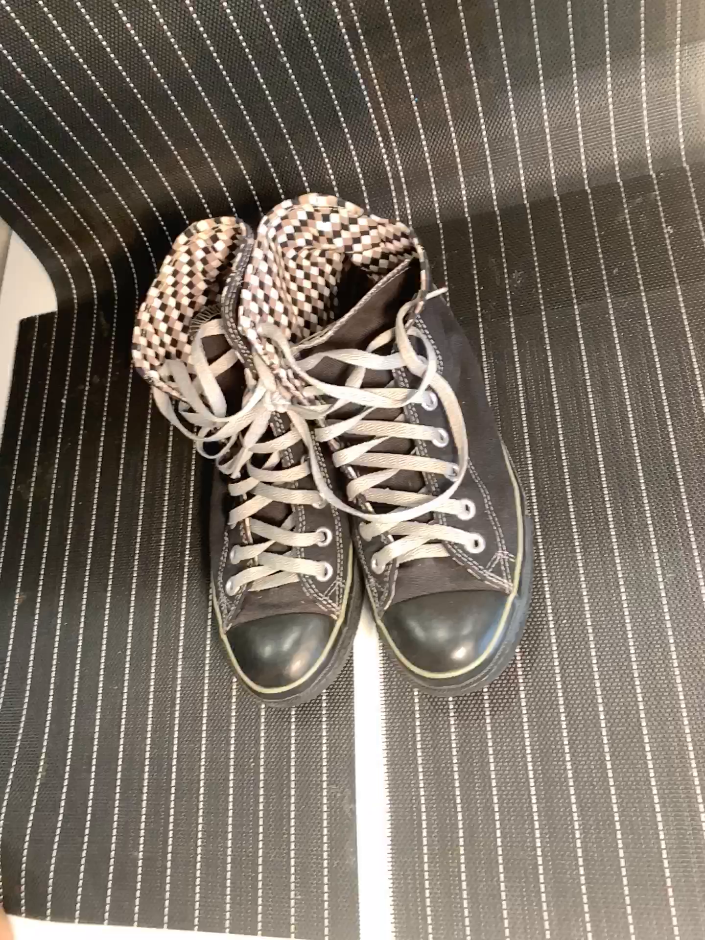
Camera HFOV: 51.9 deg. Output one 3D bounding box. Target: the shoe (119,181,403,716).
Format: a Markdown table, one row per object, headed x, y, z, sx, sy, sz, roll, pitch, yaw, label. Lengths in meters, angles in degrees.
| x | y | z | sx | sy | sz | roll | pitch | yaw | label |
| --- | --- | --- | --- | --- | --- | --- | --- | --- | --- |
| -0.051 | -0.005 | 0.449 | 0.110 | 0.130 | 0.290 | -10 | 69 | 16 | shoe |

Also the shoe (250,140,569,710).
| x | y | z | sx | sy | sz | roll | pitch | yaw | label |
| --- | --- | --- | --- | --- | --- | --- | --- | --- | --- |
| 0.031 | -0.020 | 0.427 | 0.110 | 0.130 | 0.290 | -15 | 67 | 14 | shoe |
